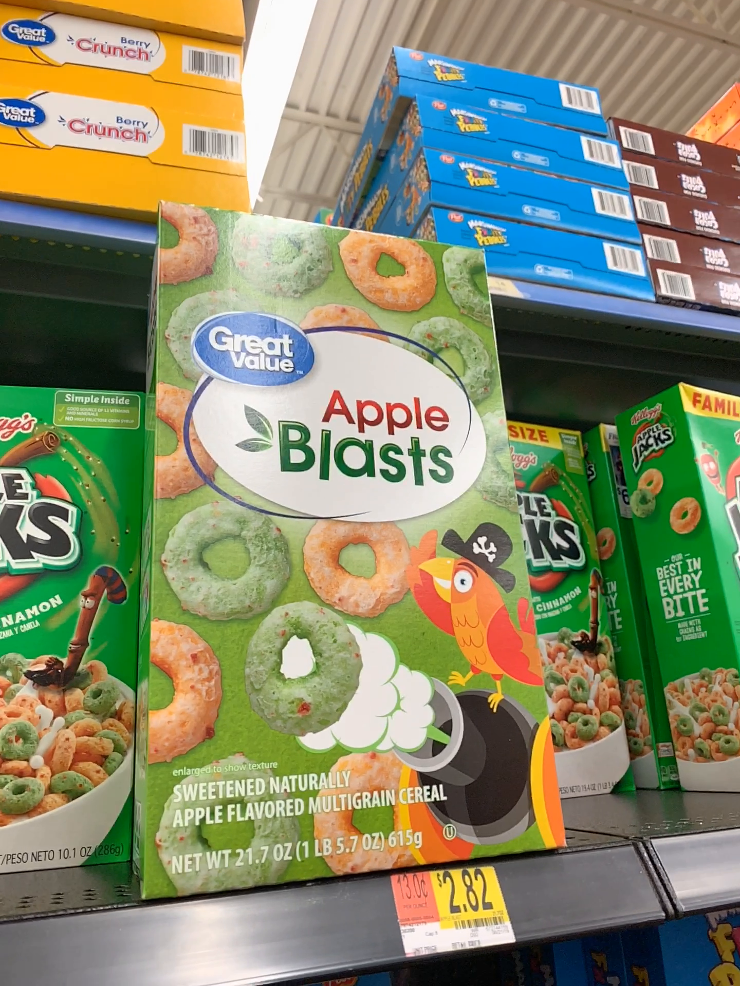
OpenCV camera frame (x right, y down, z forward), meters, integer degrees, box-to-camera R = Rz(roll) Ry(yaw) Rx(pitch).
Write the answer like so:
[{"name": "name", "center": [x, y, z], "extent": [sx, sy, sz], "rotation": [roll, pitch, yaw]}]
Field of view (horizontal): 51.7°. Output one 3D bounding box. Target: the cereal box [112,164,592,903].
[{"name": "cereal box", "center": [-0.022, 0.012, 0.406], "extent": [0.200, 0.331, 0.100], "rotation": [3, -20, -20]}]
